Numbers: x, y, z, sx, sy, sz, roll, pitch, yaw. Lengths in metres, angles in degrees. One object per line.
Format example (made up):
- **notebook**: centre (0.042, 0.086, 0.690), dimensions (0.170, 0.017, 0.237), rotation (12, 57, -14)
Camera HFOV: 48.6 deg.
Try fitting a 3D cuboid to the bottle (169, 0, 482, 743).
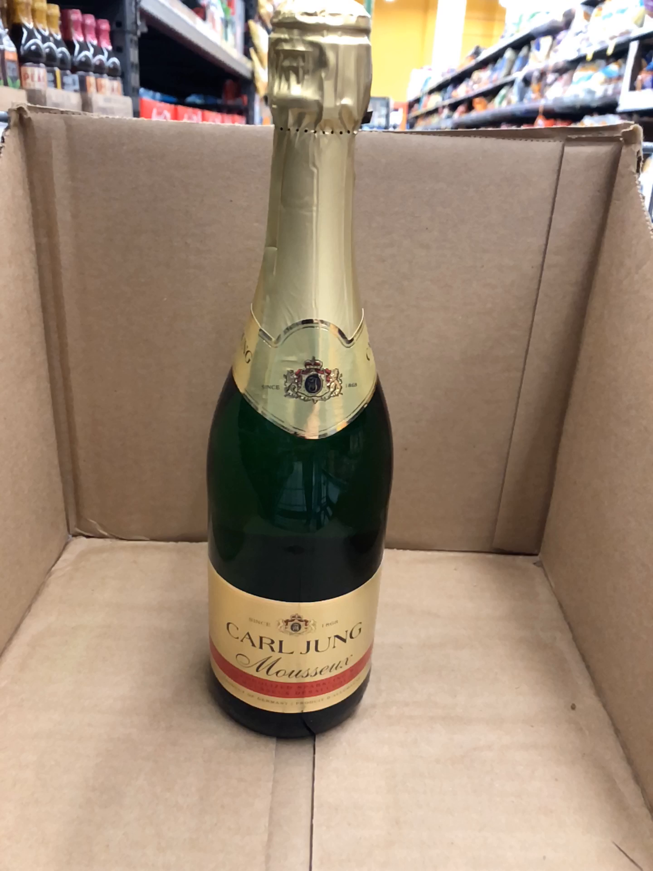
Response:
- **bottle**: centre (-0.008, -0.018, 0.296), dimensions (0.090, 0.288, 0.081), rotation (2, 21, -2)
